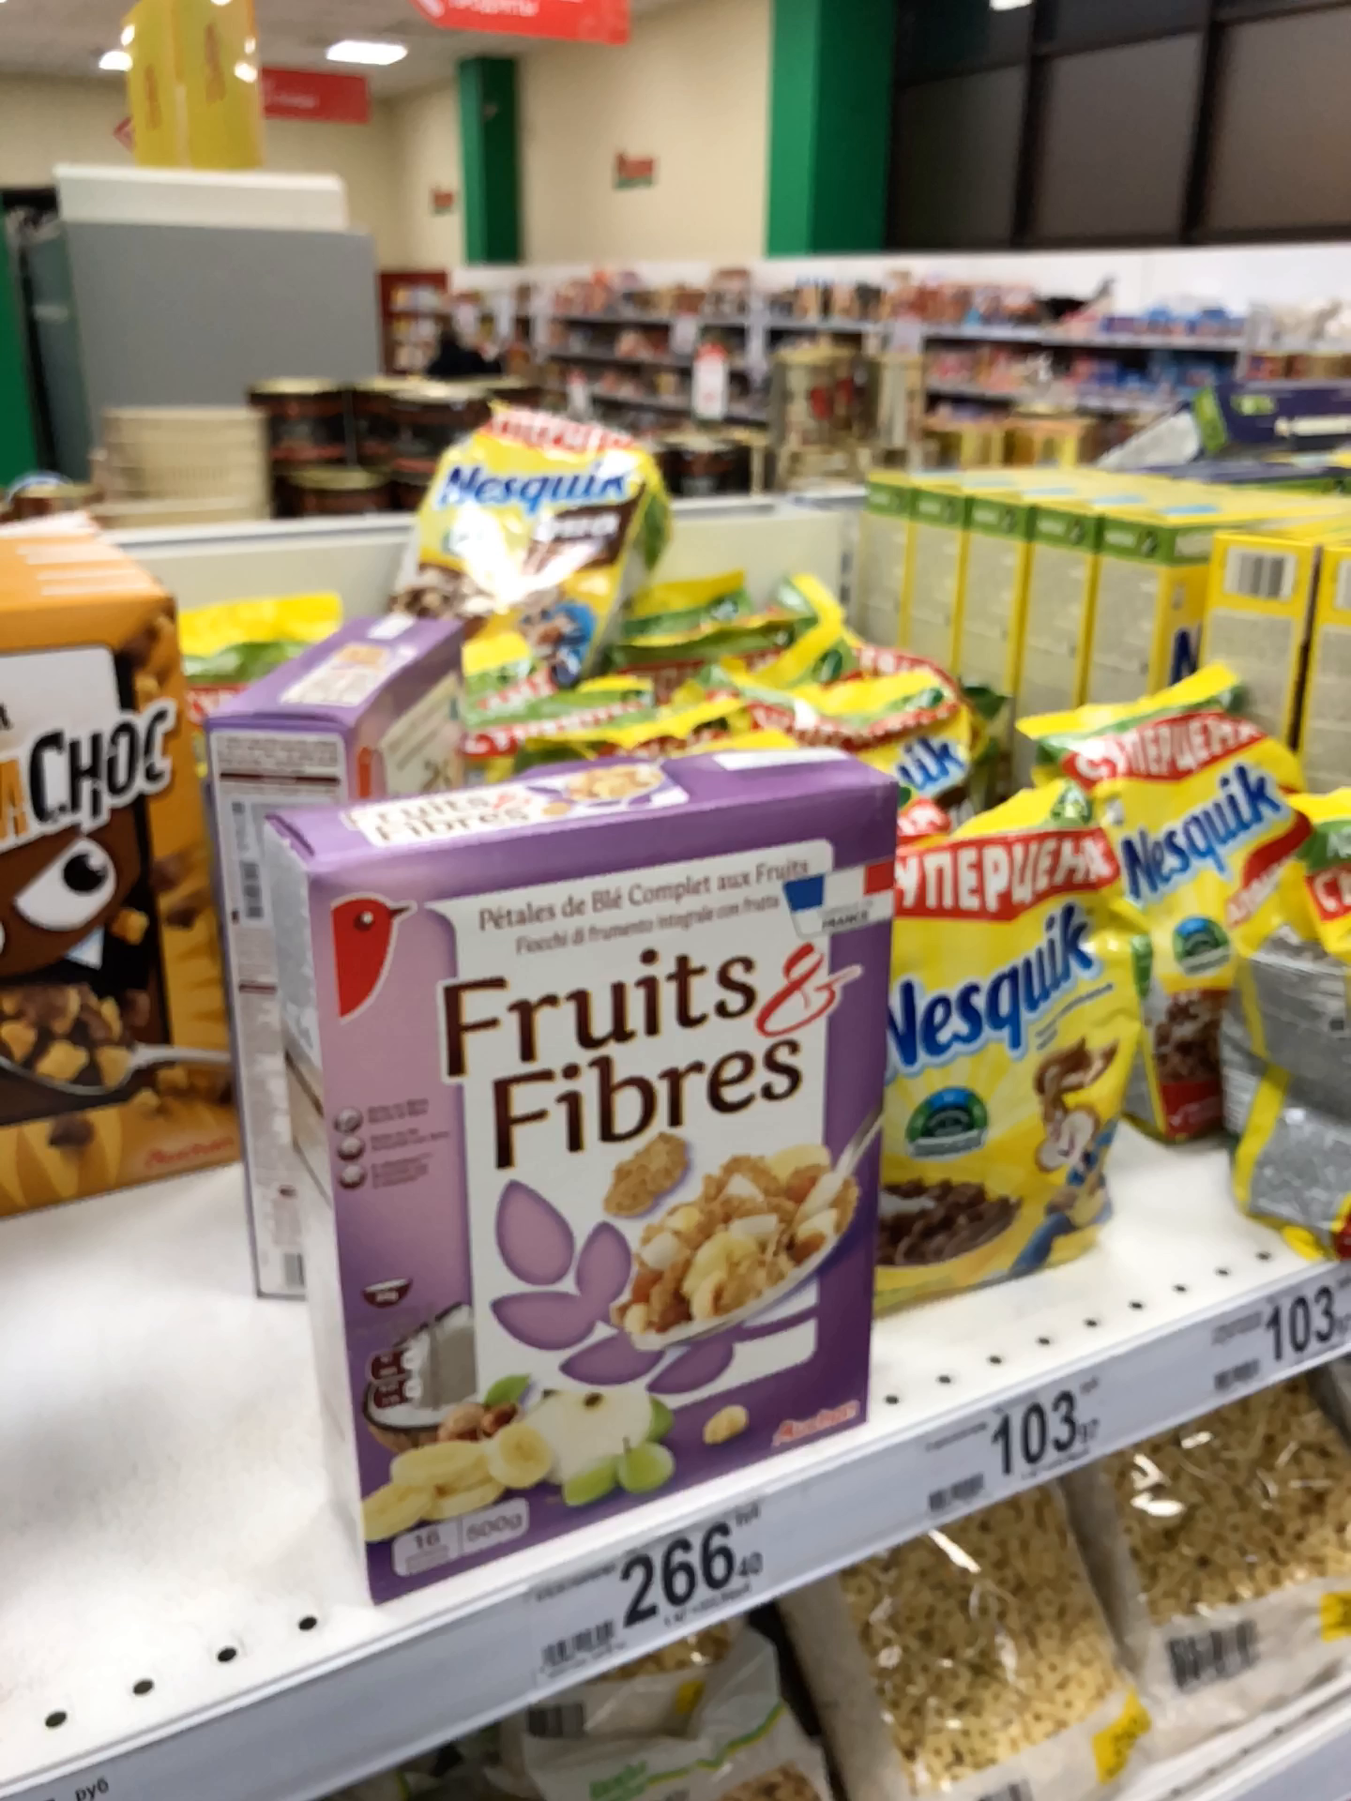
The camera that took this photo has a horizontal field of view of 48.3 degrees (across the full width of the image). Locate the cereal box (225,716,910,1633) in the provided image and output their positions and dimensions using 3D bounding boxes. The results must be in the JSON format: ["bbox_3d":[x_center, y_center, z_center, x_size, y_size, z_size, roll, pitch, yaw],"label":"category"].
[{"bbox_3d":[-0.028,0.083,0.500,0.200,0.259,0.060,-10,22,-26],"label":"cereal box"}]
